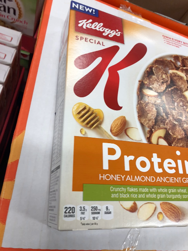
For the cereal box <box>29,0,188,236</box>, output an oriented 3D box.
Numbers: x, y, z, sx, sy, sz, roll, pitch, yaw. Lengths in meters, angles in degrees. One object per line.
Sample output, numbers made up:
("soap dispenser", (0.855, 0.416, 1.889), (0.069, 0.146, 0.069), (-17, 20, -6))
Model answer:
("cereal box", (0.042, -0.022, 0.253), (0.200, 0.060, 0.260), (7, 68, -19))
